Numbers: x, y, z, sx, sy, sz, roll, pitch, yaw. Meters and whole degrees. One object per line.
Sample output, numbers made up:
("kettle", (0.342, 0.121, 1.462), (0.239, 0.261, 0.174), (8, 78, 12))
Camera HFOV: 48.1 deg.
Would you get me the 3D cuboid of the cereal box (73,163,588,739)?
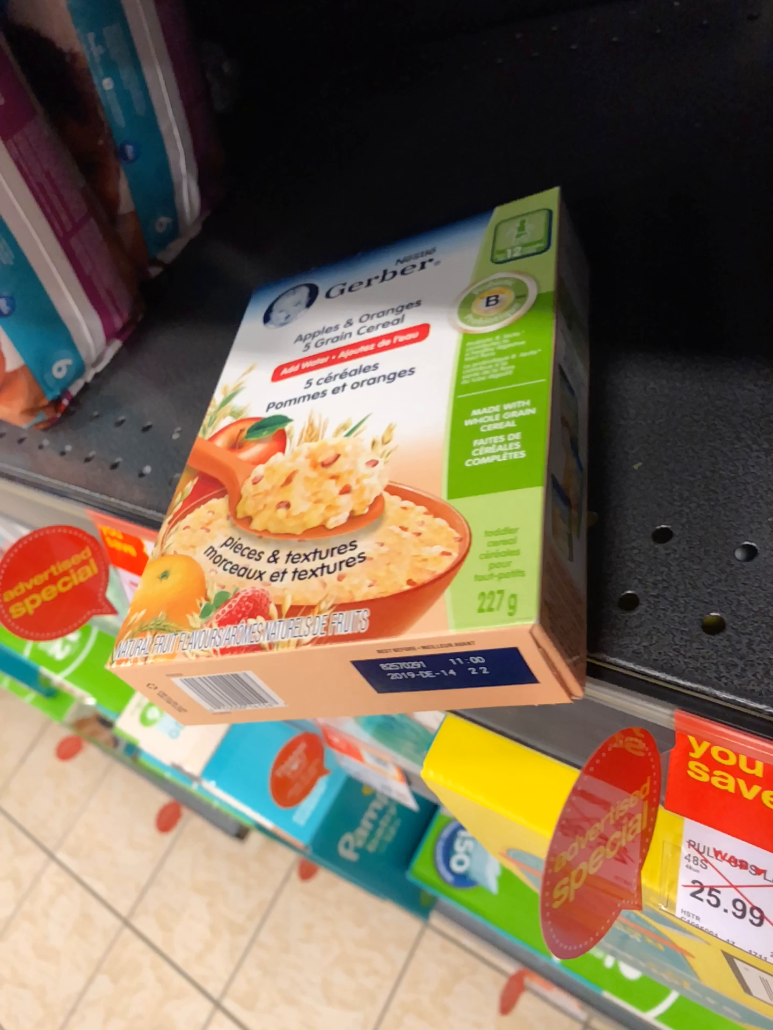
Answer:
("cereal box", (-0.007, -0.028, 0.325), (0.150, 0.050, 0.210), (-10, 49, 26))
